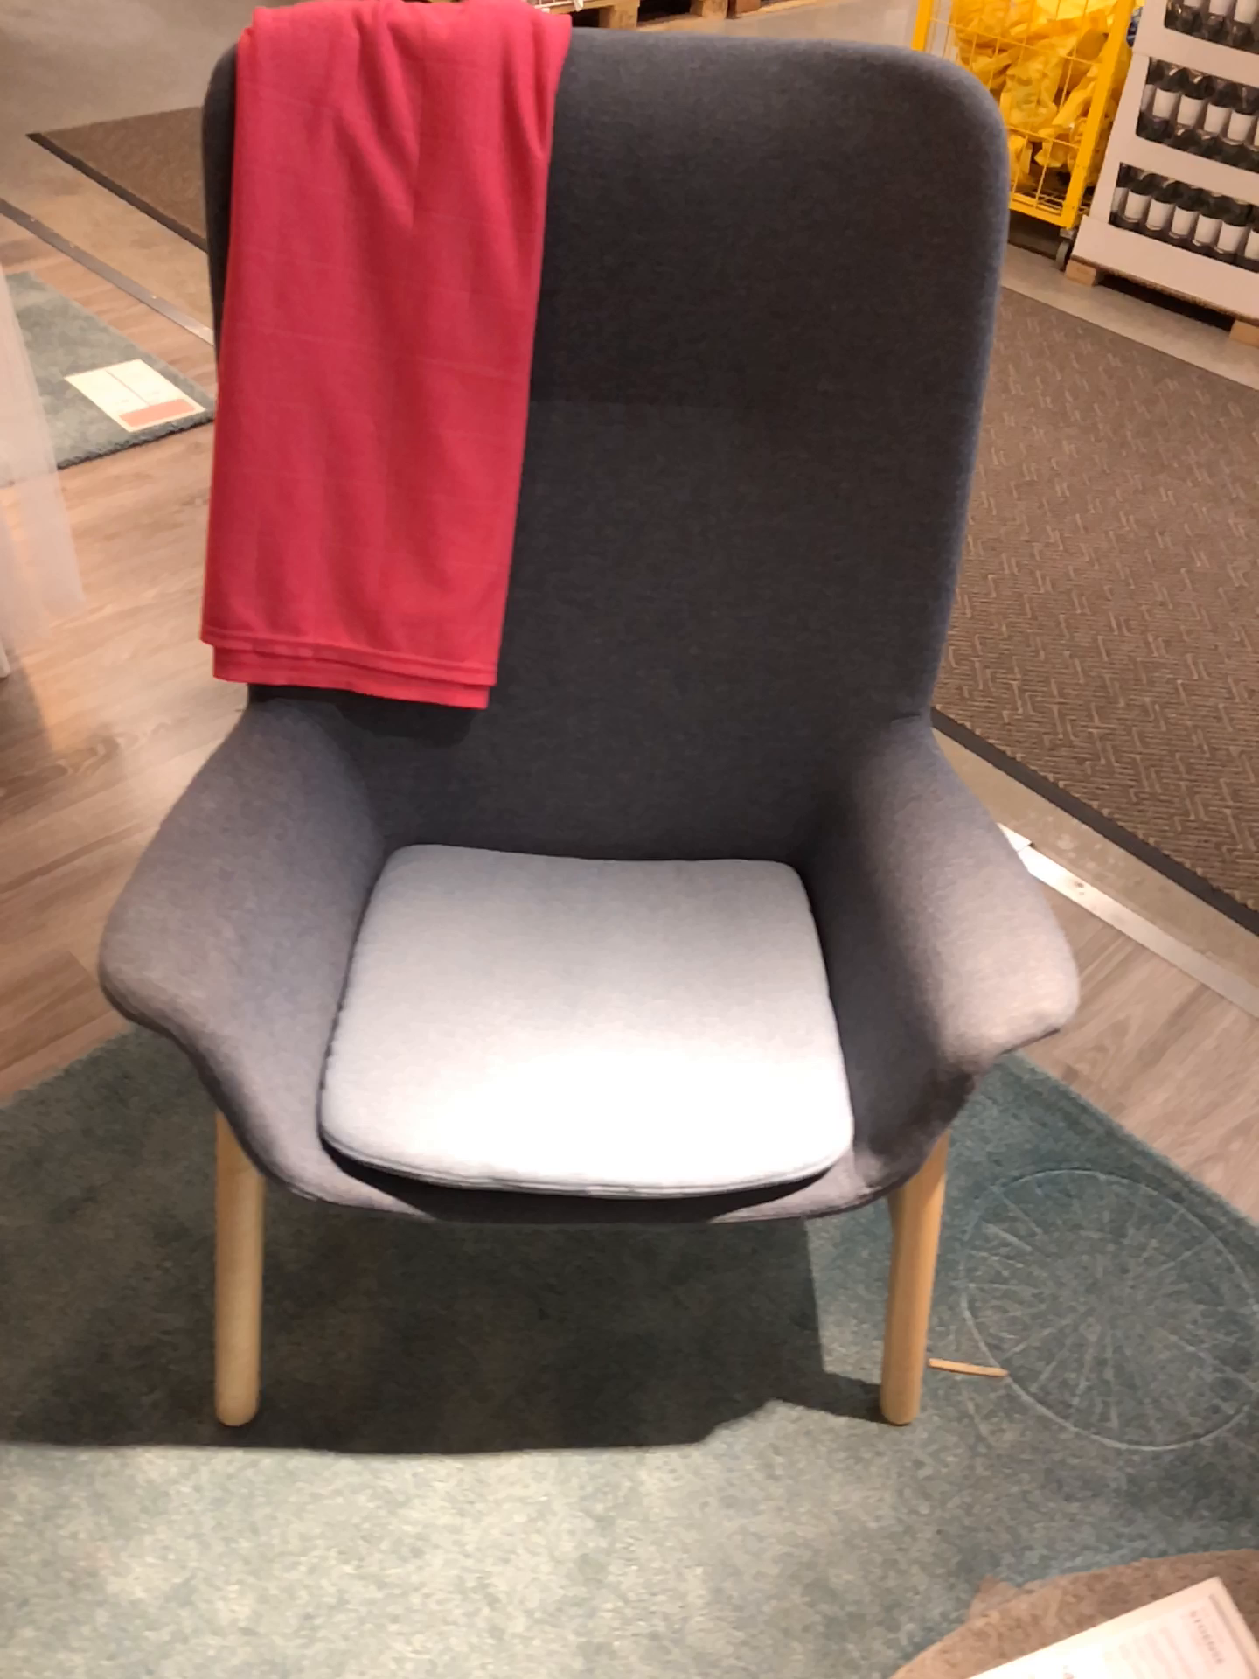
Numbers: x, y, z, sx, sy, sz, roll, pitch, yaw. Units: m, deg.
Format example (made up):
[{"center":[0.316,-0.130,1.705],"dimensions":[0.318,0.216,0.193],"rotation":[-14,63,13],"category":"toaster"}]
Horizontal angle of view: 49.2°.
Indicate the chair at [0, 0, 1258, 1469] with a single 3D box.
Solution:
[{"center":[-0.038,-0.054,1.137],"dimensions":[0.790,0.996,0.703],"rotation":[1,43,-4],"category":"chair"}]
